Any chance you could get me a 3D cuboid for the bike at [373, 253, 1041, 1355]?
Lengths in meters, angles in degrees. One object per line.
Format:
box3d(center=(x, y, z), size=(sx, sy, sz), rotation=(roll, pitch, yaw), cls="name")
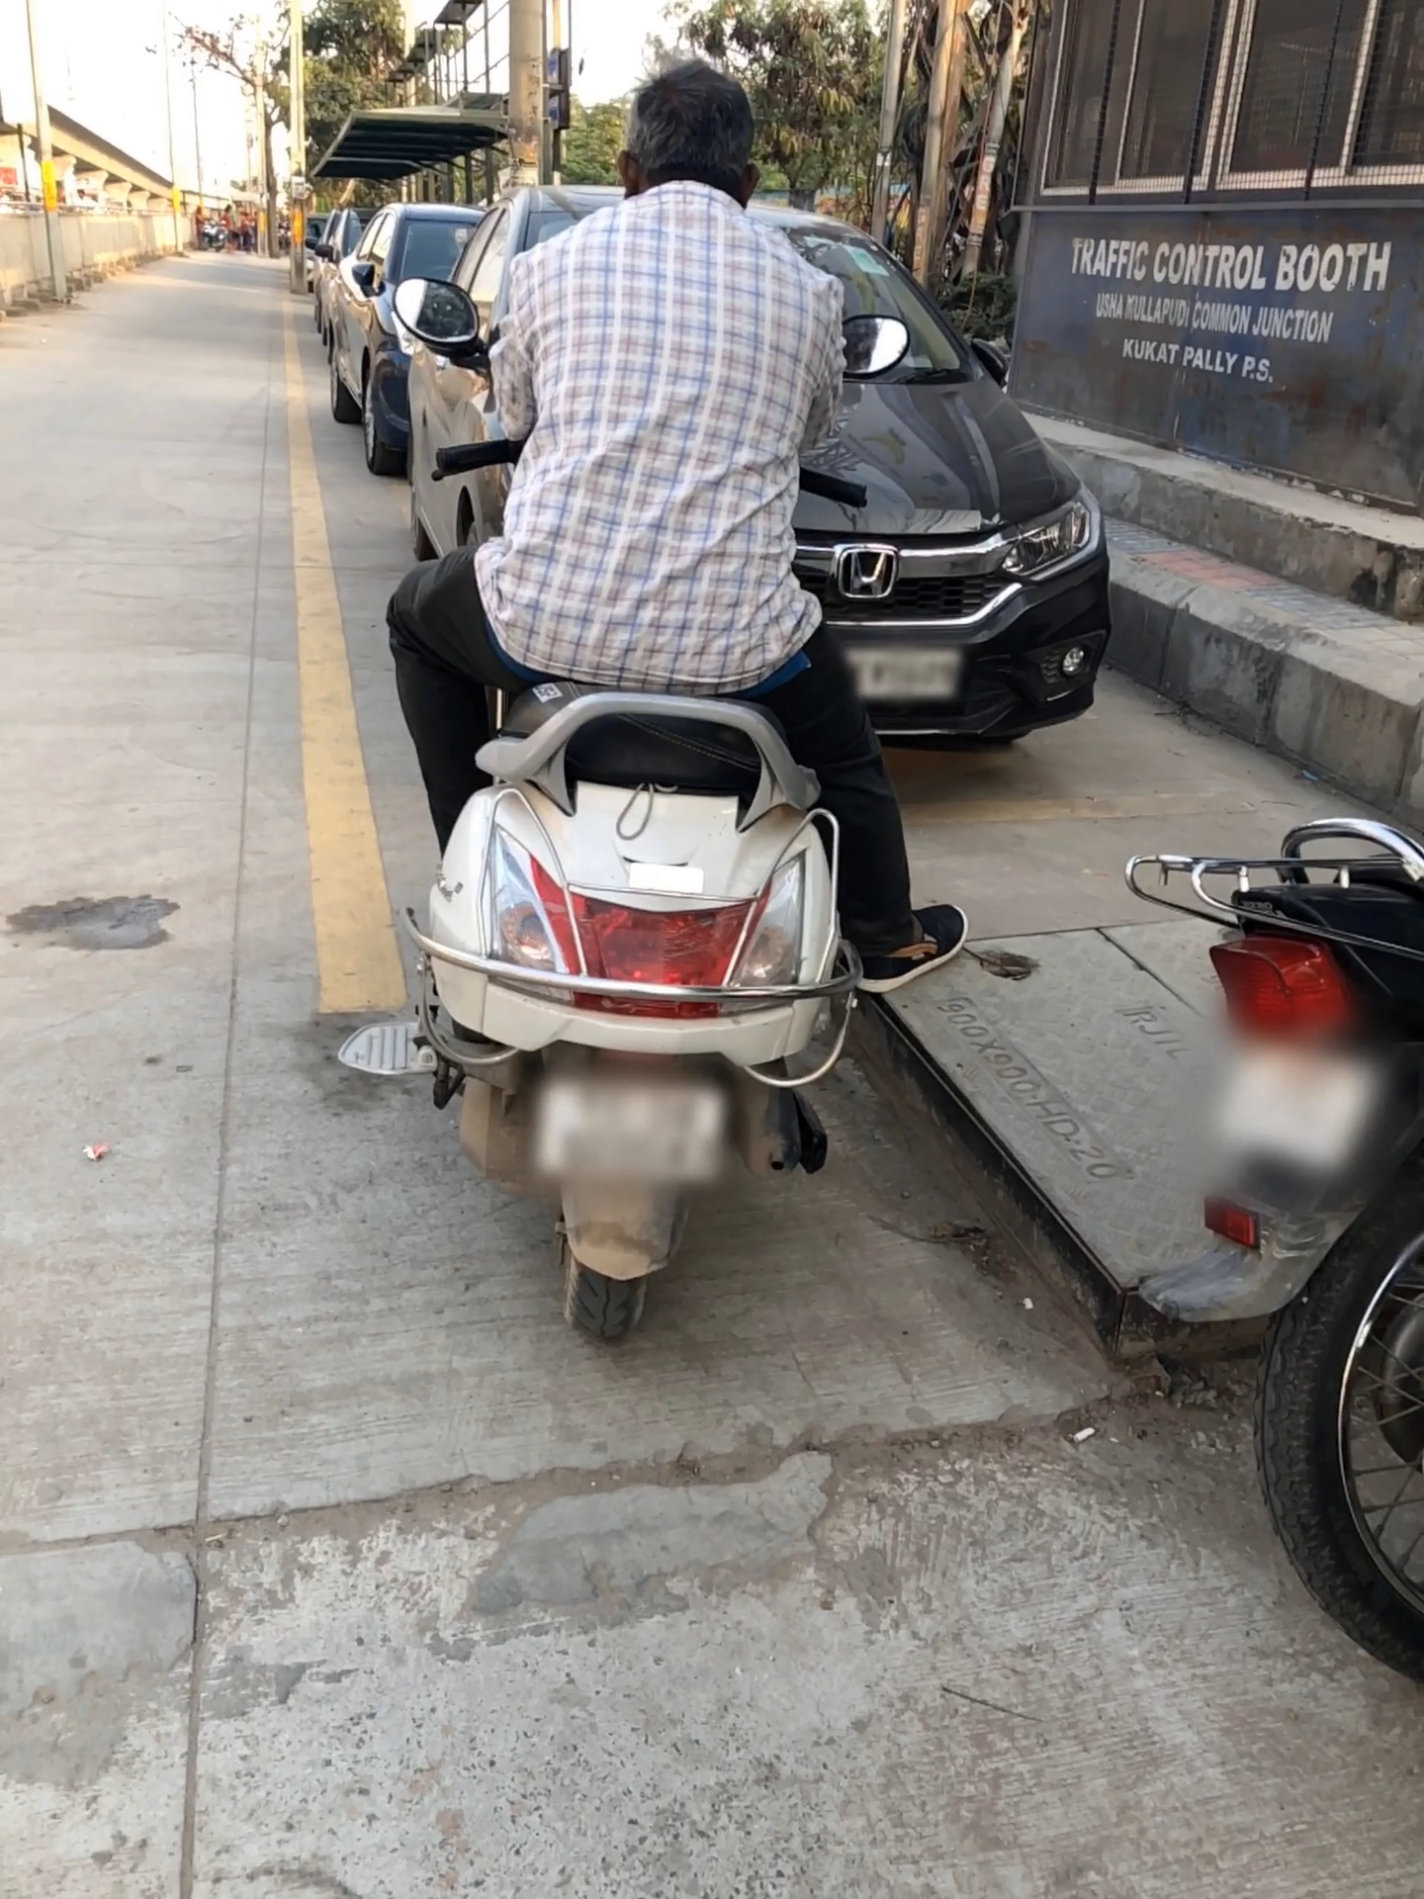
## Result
box3d(center=(-0.043, -0.385, 2.324), size=(0.640, 0.858, 1.609), rotation=(1, 32, -4), cls="bike")
